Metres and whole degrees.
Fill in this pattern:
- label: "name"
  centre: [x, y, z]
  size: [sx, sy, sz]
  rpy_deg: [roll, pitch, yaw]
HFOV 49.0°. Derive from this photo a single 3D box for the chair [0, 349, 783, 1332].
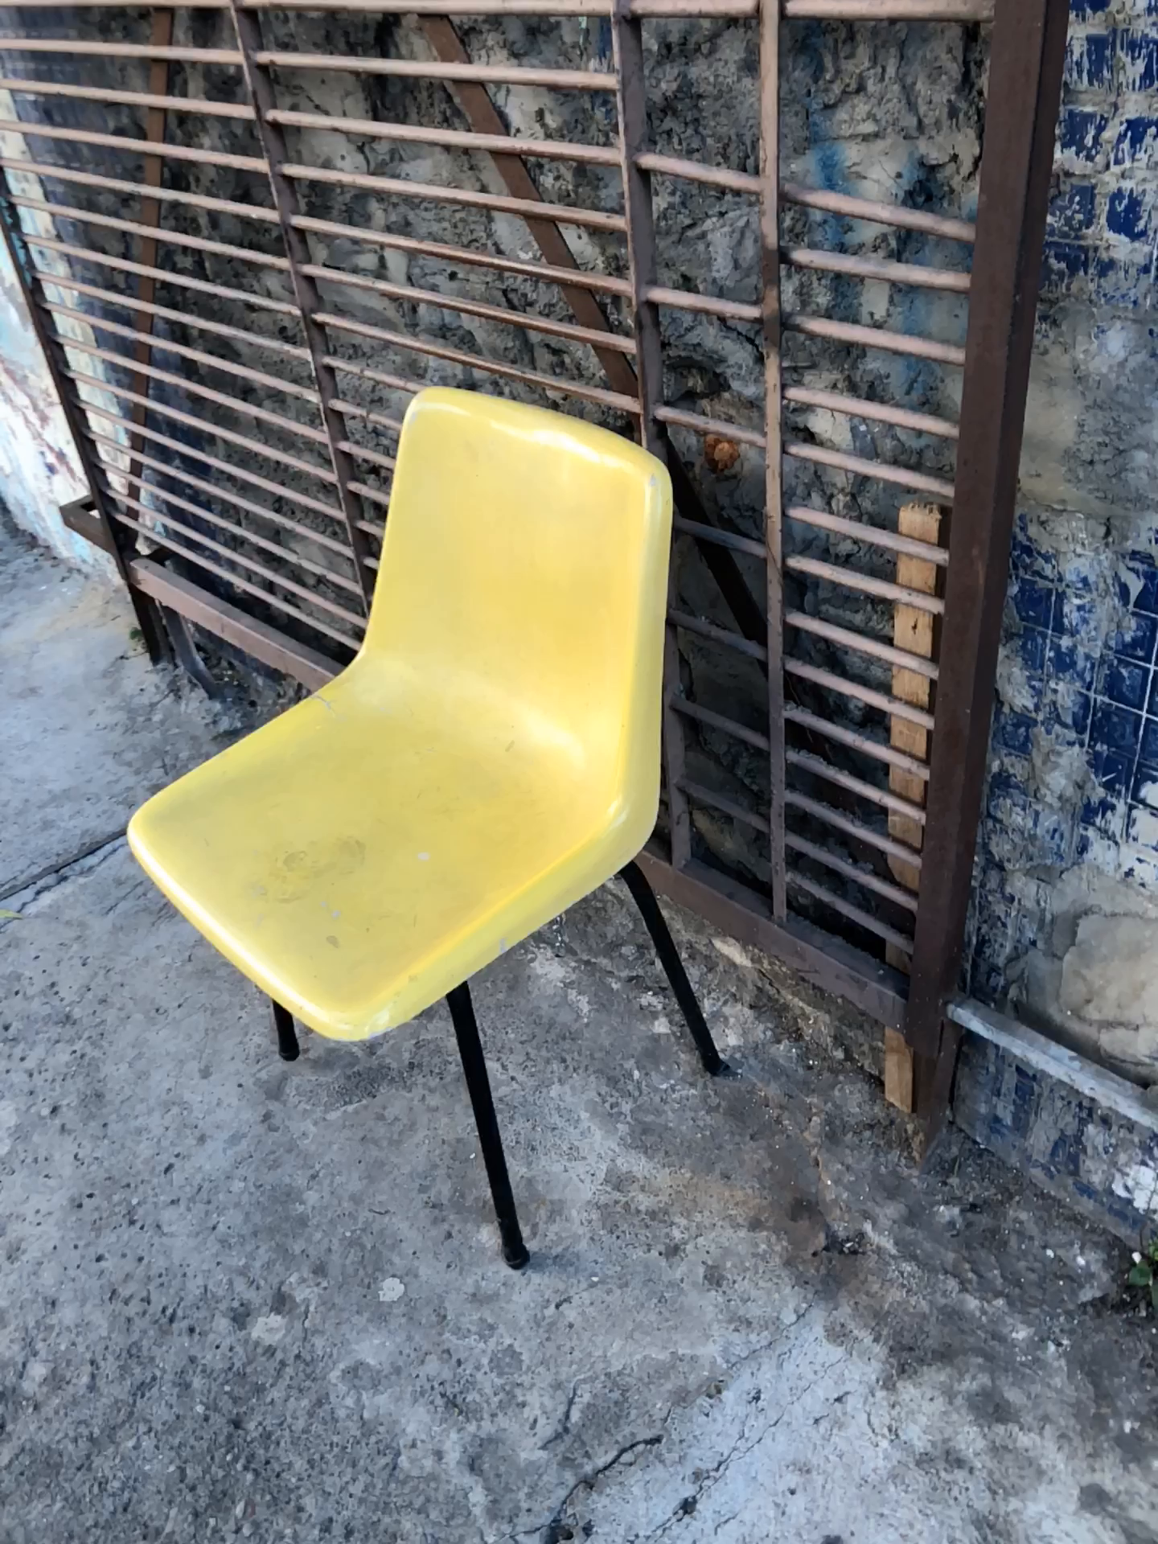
- label: "chair"
  centre: [-0.139, 0.041, 1.271]
  size: [0.471, 0.715, 0.482]
  rpy_deg: [-31, 41, -30]
